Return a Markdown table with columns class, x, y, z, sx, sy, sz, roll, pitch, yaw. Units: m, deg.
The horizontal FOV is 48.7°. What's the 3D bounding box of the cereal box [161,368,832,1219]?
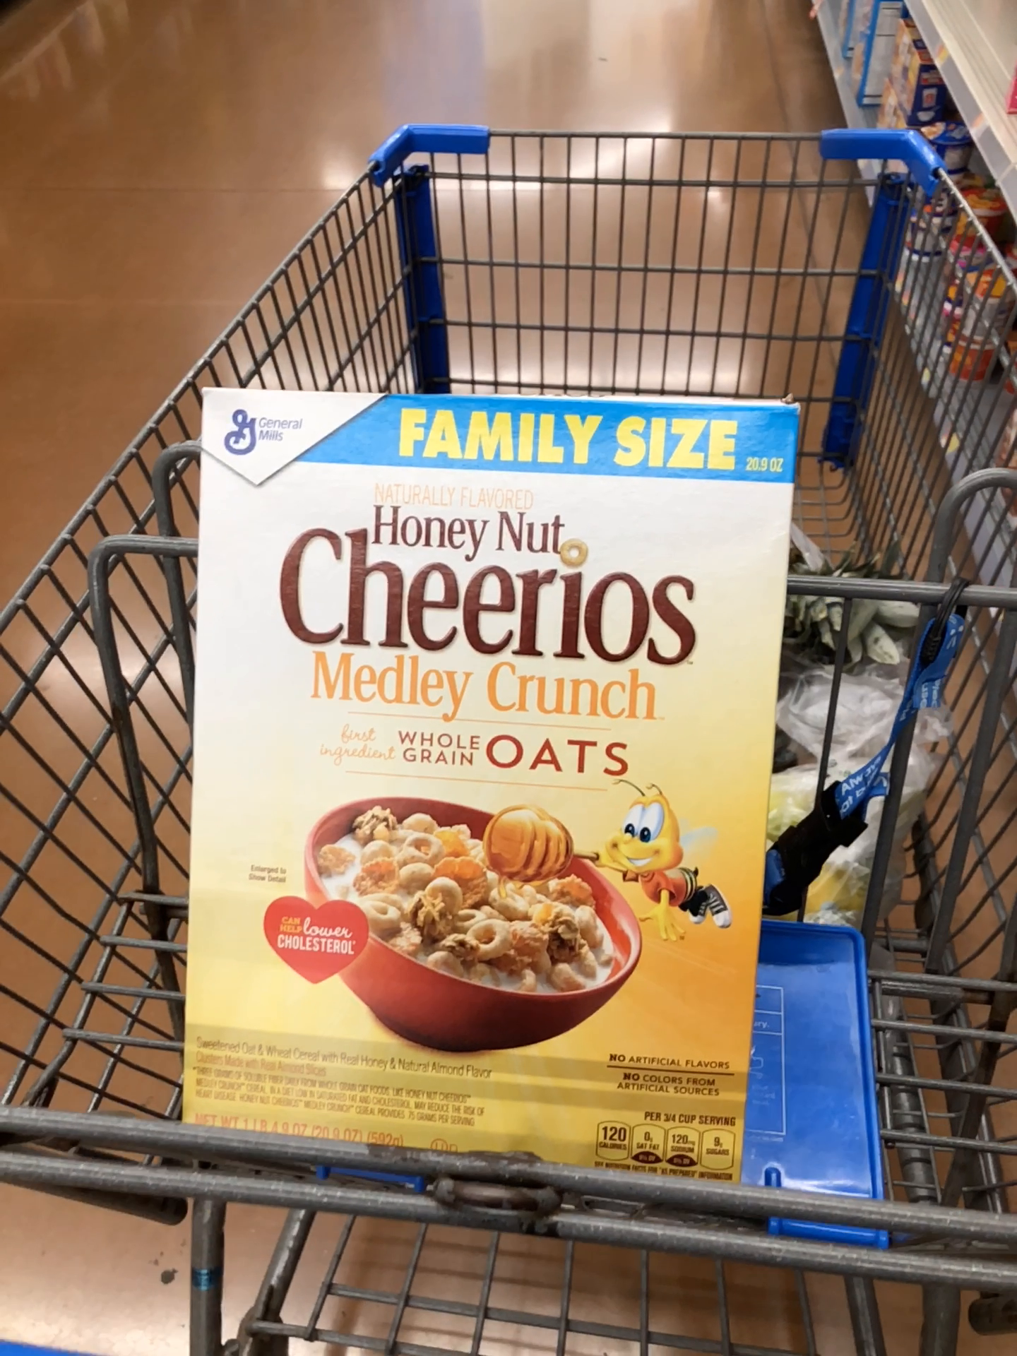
| class | x | y | z | sx | sy | sz | roll | pitch | yaw |
| --- | --- | --- | --- | --- | --- | --- | --- | --- | --- |
| cereal box | -0.008 | 0.042 | 0.474 | 0.250 | 0.320 | 0.070 | 3 | 4 | 6 |
